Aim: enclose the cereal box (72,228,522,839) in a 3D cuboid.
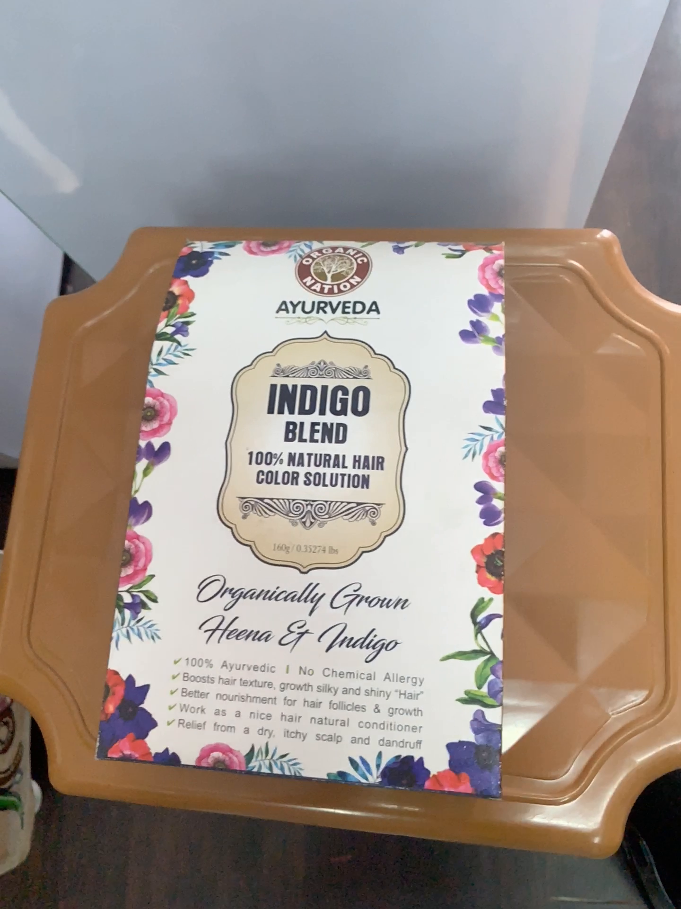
[{"bbox_3d":[-0.006,0.022,0.274,0.140,0.070,0.200,2,77,8],"label":"cereal box"}]
